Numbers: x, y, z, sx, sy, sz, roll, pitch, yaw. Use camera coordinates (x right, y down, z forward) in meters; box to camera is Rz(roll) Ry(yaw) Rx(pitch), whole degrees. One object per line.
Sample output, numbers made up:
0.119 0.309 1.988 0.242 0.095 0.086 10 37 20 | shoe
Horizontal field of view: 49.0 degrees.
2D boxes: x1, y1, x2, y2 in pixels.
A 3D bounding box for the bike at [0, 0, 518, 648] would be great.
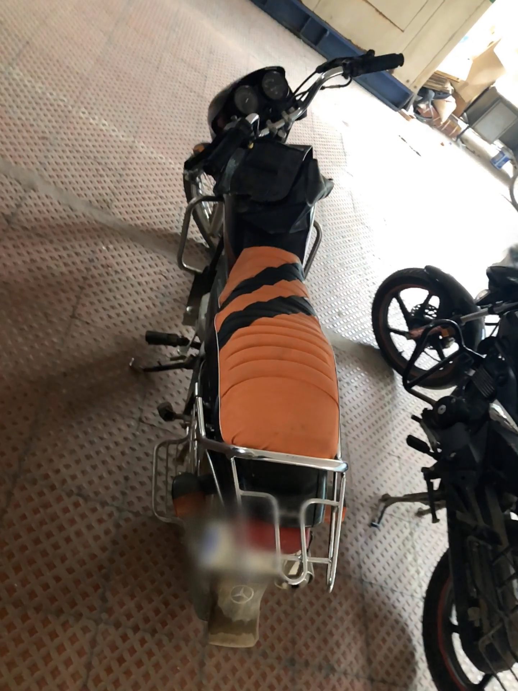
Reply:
-0.104 -0.156 1.489 0.688 1.124 1.409 21 43 -29 | bike
